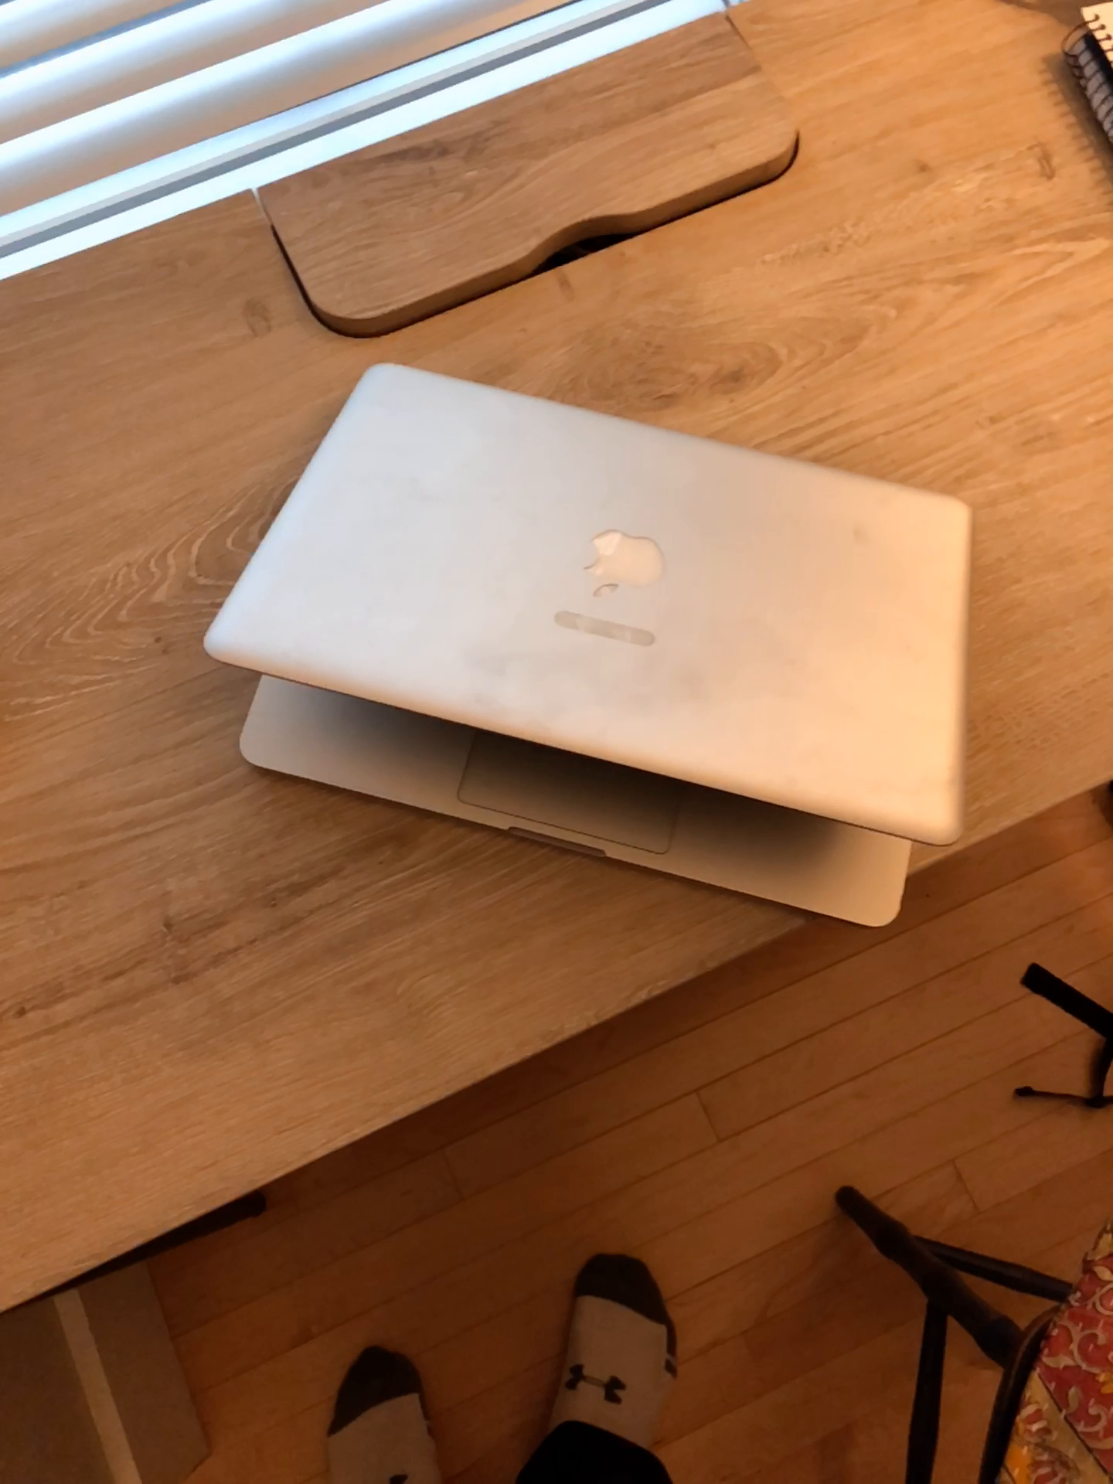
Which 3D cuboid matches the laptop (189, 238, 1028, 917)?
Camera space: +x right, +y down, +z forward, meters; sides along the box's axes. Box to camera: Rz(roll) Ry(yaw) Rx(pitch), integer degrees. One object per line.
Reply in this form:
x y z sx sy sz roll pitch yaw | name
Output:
0.029 -0.078 0.569 0.318 0.090 0.229 14 74 5 | laptop
